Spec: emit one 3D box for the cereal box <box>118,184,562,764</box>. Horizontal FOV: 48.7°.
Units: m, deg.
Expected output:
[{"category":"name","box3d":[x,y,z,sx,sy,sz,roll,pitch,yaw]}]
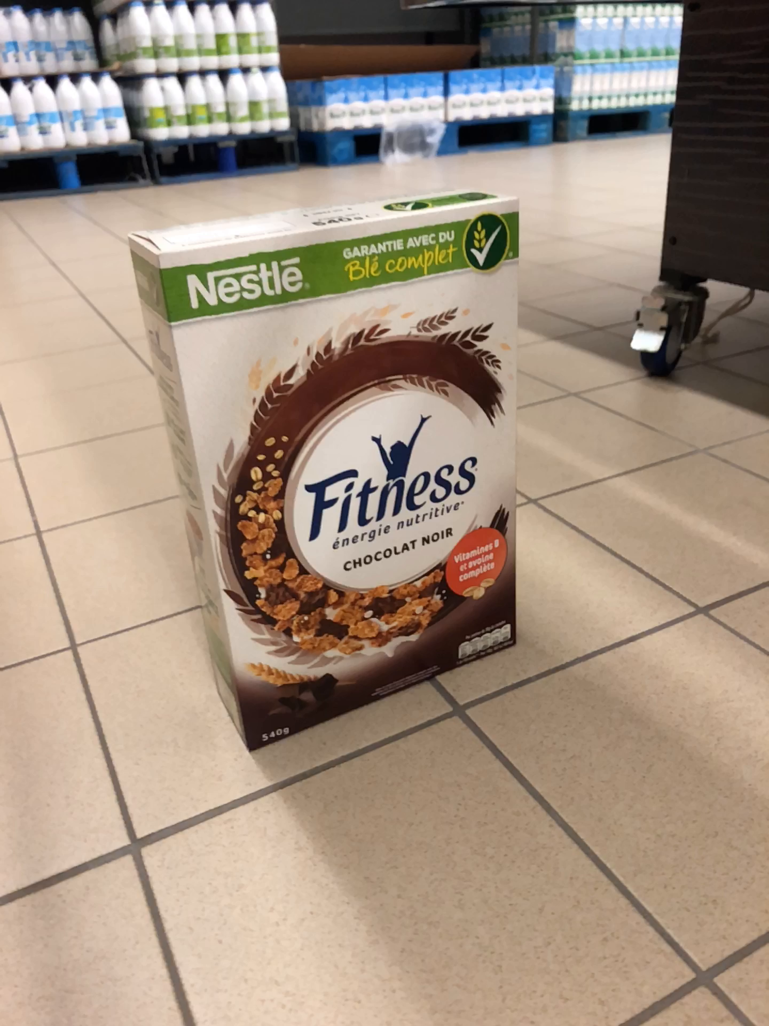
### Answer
[{"category":"cereal box","box3d":[-0.009,-0.026,0.489,0.211,0.278,0.080,-17,29,-22]}]
